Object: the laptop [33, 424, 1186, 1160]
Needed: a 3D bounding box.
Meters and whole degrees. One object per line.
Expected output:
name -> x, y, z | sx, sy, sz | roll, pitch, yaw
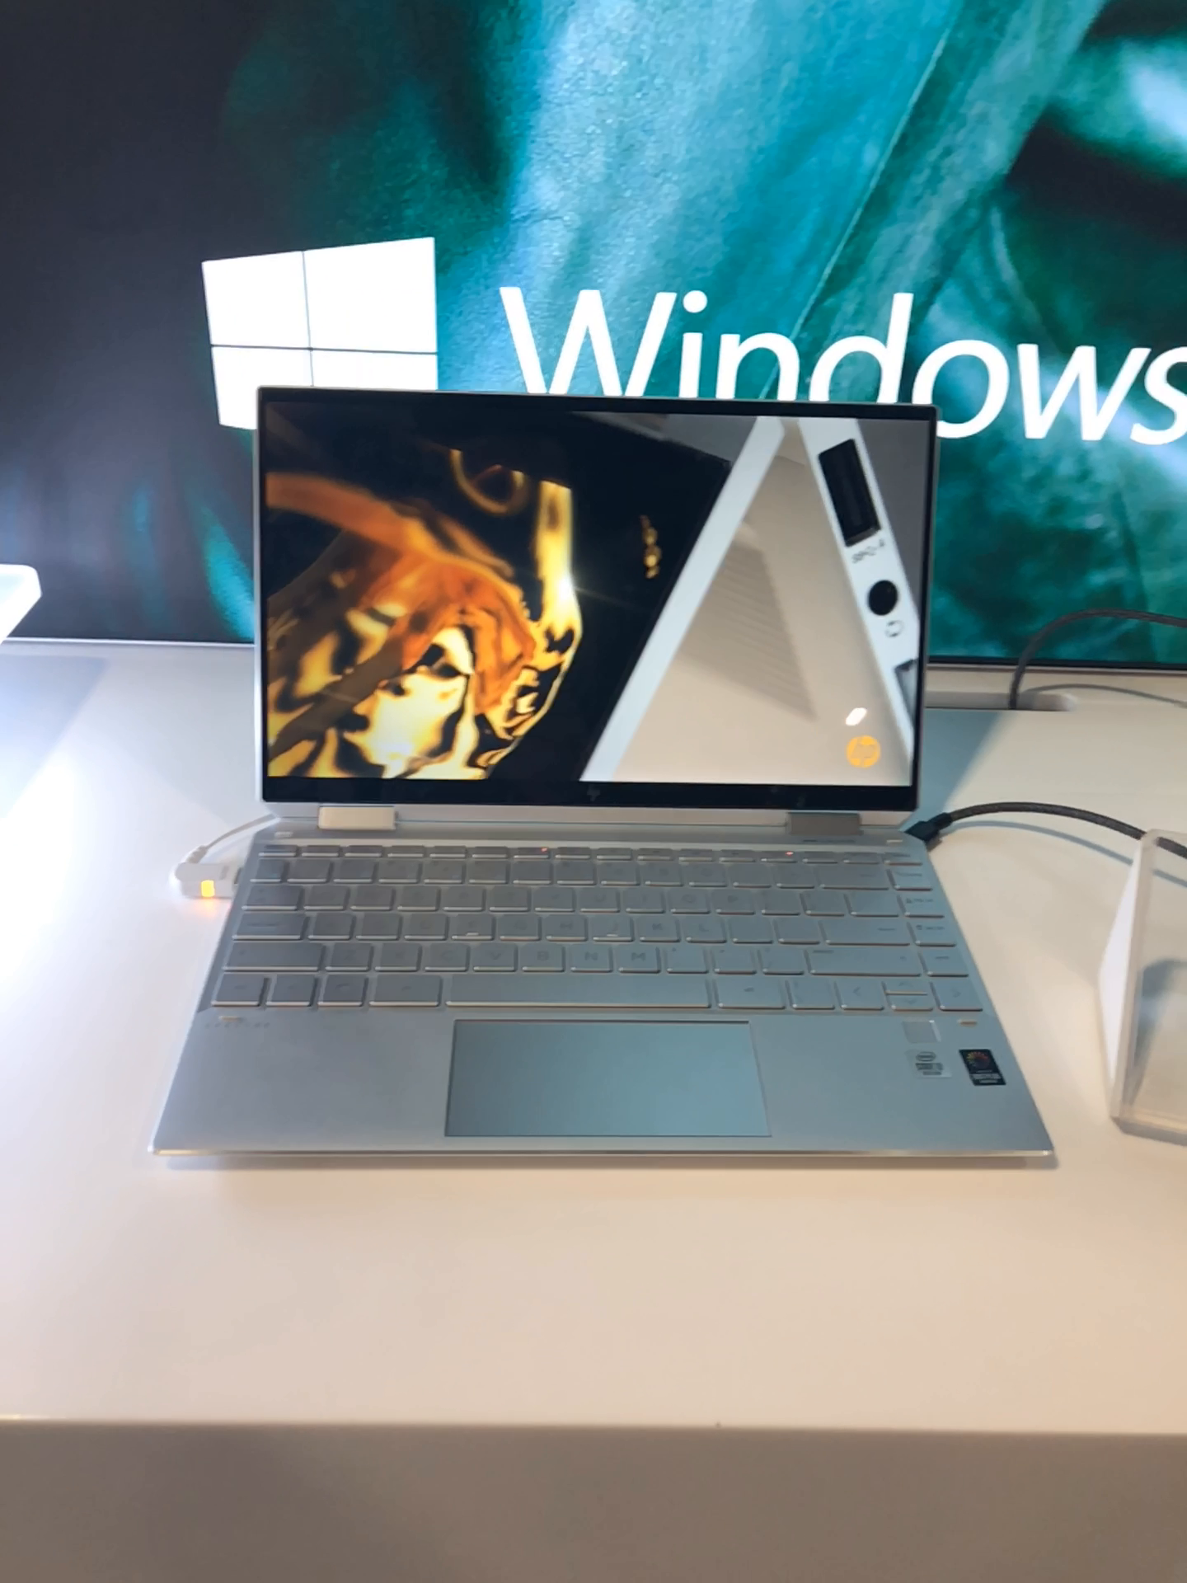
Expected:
laptop -> 0.001, -0.014, 0.474 | 0.281, 0.194, 0.241 | 2, 26, -3
